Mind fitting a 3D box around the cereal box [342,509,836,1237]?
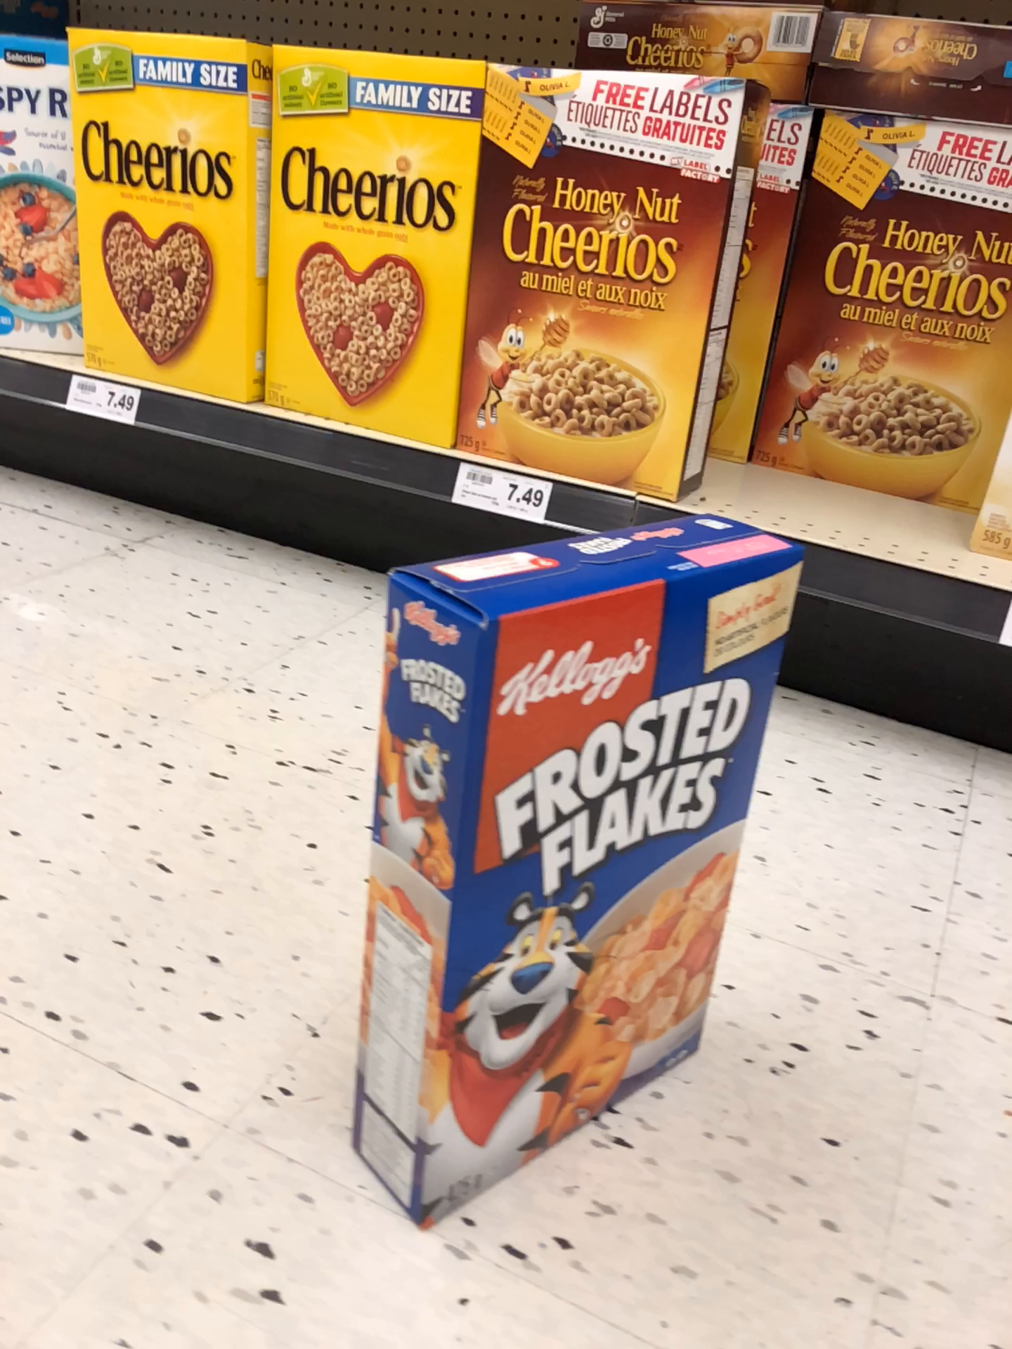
[{"bbox_3d":[0.035,0.083,0.516,0.201,0.288,0.070,-15,32,-40],"label":"cereal box"}]
